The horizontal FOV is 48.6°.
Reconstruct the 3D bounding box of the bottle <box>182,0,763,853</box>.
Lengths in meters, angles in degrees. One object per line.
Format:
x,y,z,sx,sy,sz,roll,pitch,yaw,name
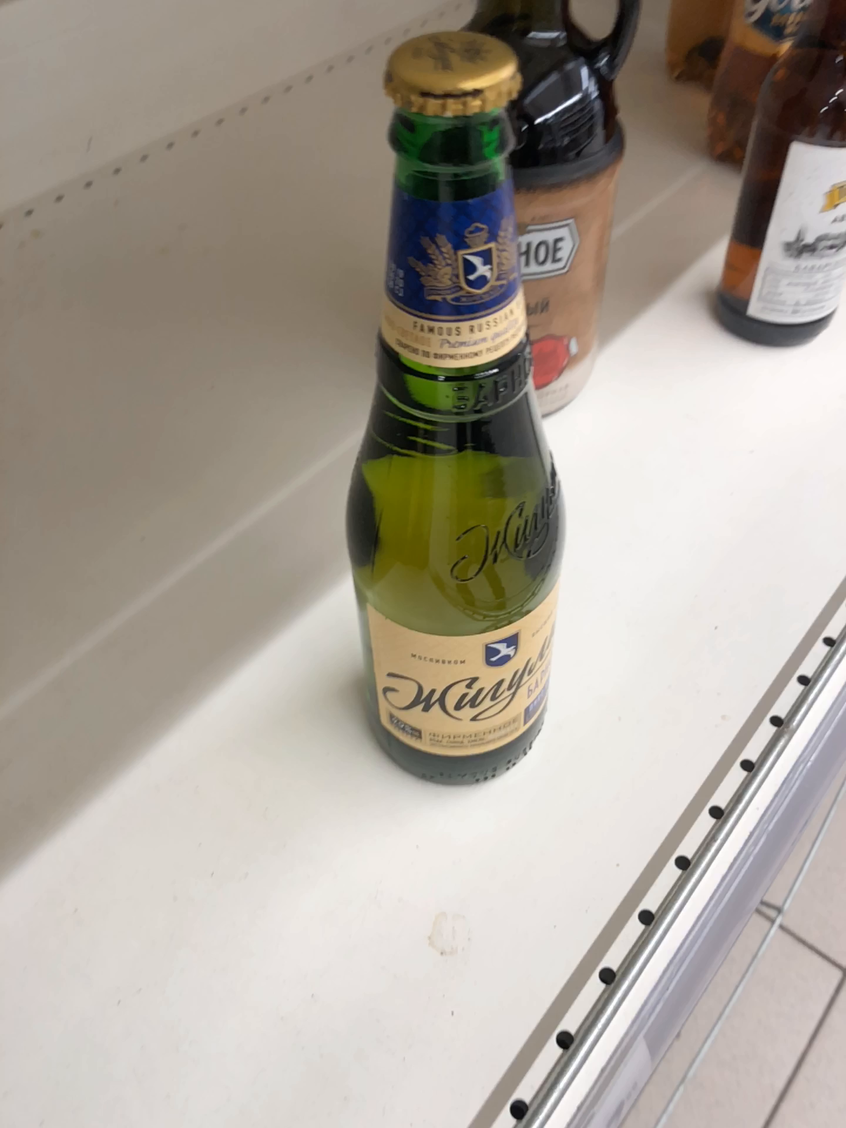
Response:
0.010,-0.019,0.284,0.090,0.249,0.080,-22,52,-16,bottle
